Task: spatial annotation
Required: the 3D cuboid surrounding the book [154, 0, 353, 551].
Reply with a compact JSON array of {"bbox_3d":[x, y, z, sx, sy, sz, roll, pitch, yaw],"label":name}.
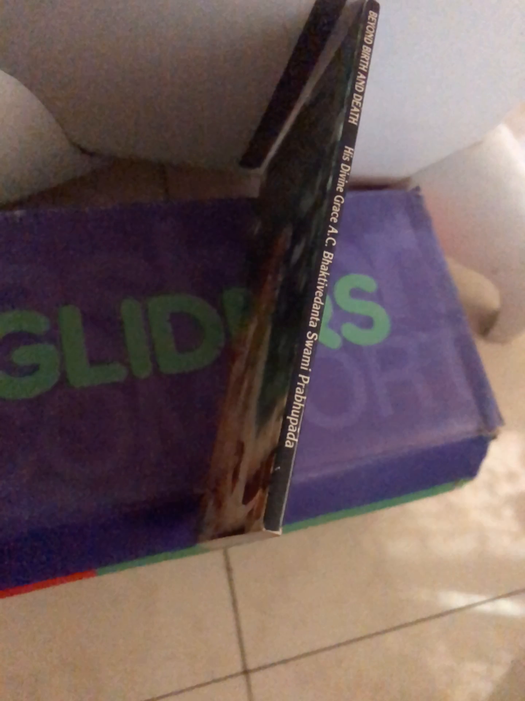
[{"bbox_3d":[-0.006,-0.028,0.221,0.010,0.120,0.190,15,65,-11],"label":"book"}]
